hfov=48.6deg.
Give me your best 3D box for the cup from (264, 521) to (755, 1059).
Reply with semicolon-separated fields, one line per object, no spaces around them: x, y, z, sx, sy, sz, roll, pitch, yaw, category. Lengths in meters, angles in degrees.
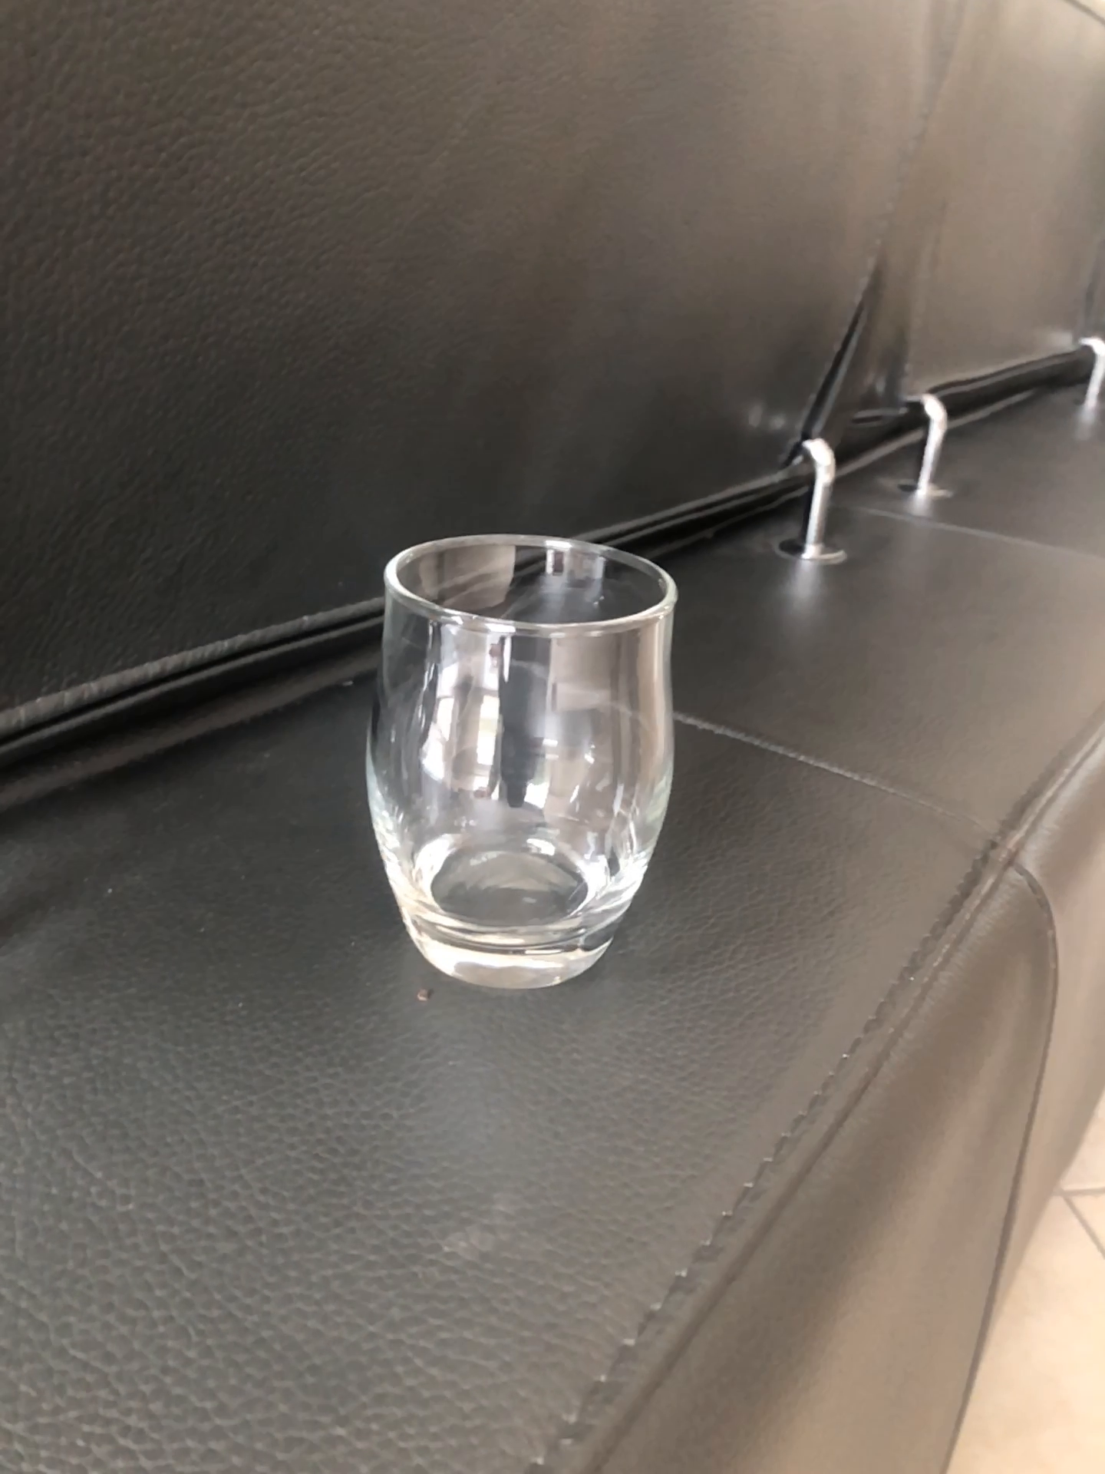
-0.013;0.006;0.299;0.080;0.090;0.080;4;24;-2;cup
